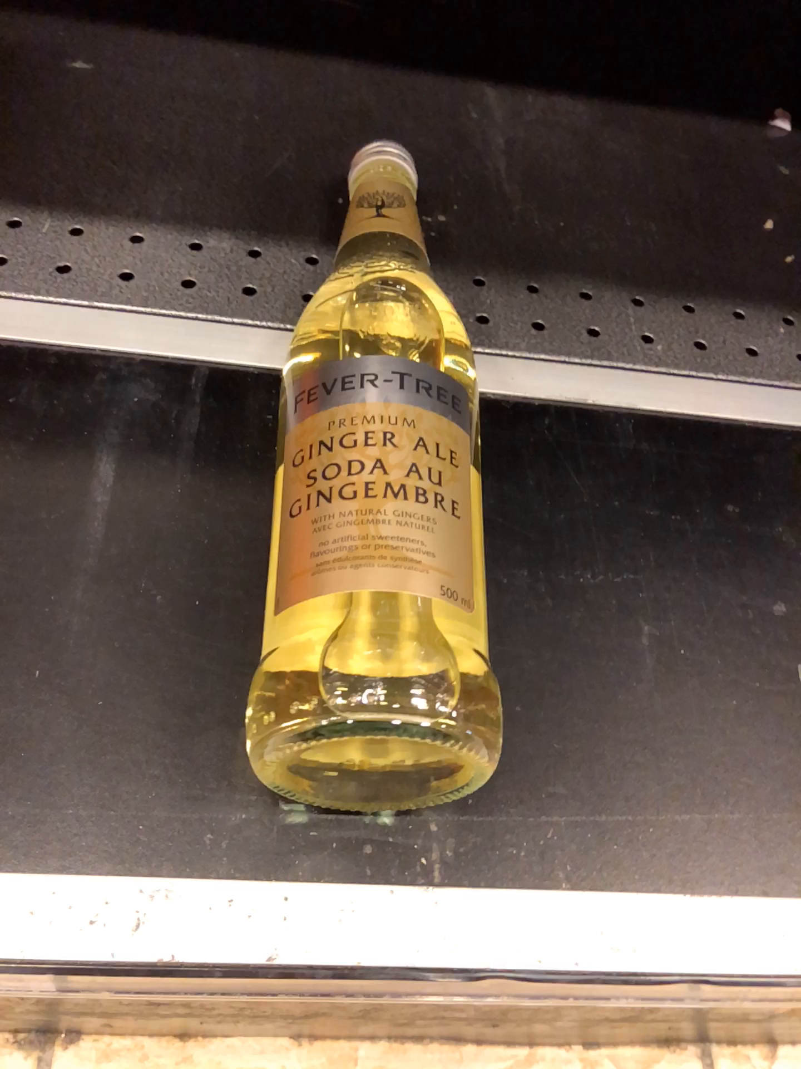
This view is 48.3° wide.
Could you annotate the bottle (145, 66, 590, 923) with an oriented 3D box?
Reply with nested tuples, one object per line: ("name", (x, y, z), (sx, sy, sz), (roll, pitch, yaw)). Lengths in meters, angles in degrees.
("bottle", (-0.013, -0.032, 0.297), (0.090, 0.090, 0.281), (5, 54, -8))
